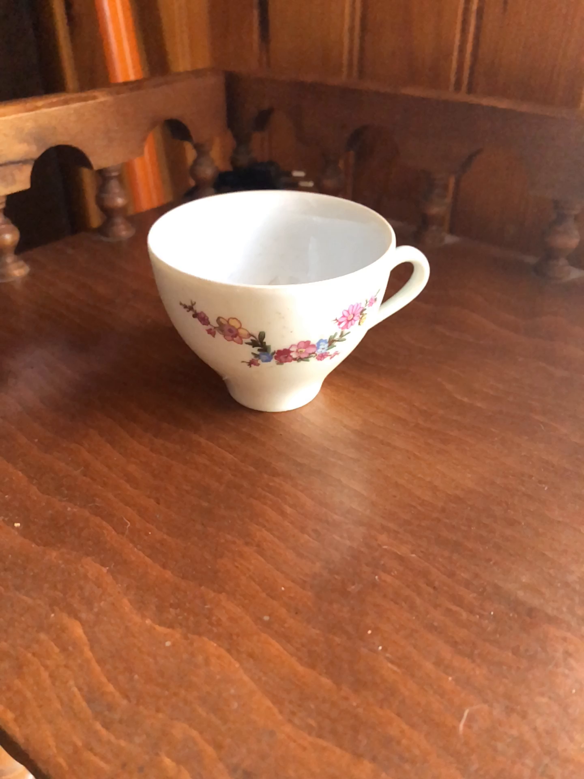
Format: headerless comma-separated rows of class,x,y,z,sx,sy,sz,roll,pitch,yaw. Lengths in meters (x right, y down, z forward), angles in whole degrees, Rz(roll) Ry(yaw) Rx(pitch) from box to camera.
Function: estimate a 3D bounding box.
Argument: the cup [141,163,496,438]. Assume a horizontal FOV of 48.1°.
cup,0.002,-0.035,0.216,0.090,0.050,0.080,-9,35,-13
